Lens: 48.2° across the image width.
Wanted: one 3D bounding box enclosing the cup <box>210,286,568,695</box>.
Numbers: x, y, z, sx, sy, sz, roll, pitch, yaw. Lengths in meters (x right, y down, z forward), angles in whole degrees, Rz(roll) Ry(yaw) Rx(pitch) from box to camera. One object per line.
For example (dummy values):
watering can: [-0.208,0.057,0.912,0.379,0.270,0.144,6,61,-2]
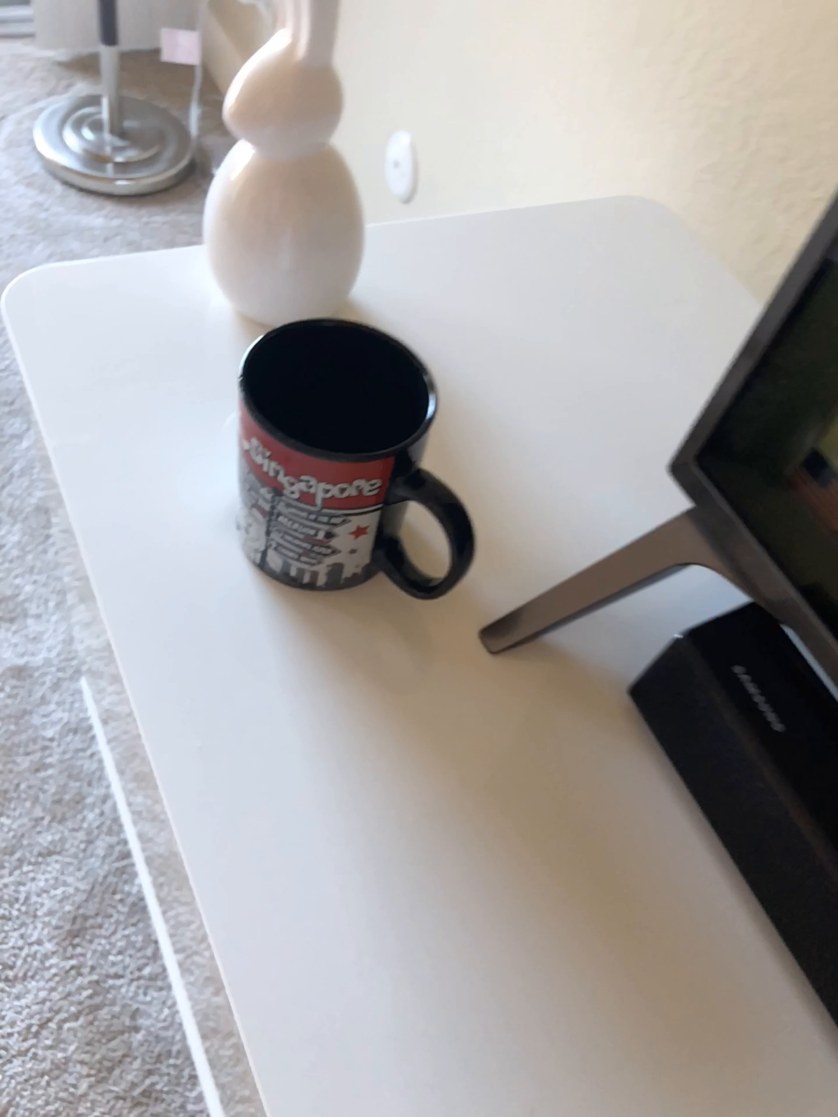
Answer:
cup: [-0.021,-0.029,0.414,0.120,0.110,0.080,41,55,17]
